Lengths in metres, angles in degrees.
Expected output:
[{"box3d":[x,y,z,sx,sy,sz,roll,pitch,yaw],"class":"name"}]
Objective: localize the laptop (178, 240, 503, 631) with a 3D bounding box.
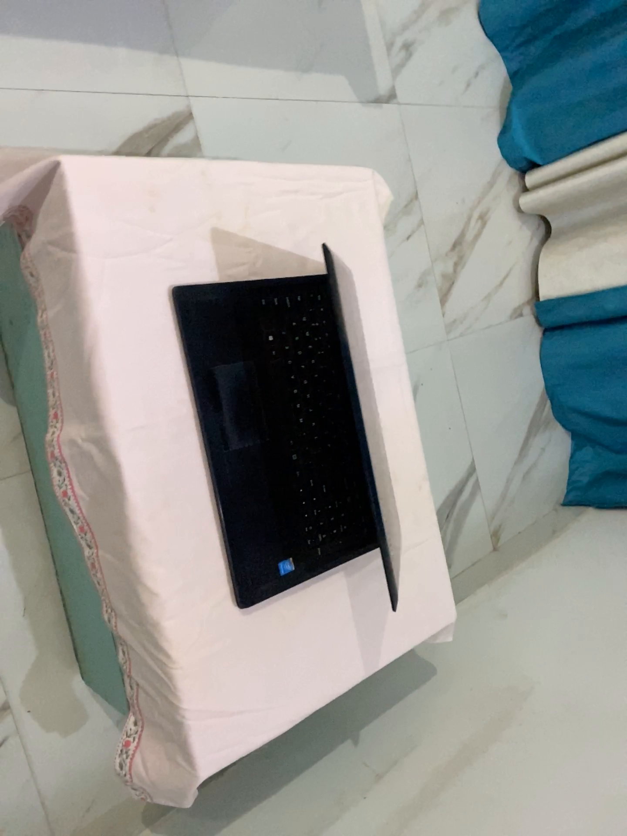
[{"box3d":[0.038,0.005,0.746,0.259,0.176,0.368,-15,97,-37],"class":"laptop"}]
